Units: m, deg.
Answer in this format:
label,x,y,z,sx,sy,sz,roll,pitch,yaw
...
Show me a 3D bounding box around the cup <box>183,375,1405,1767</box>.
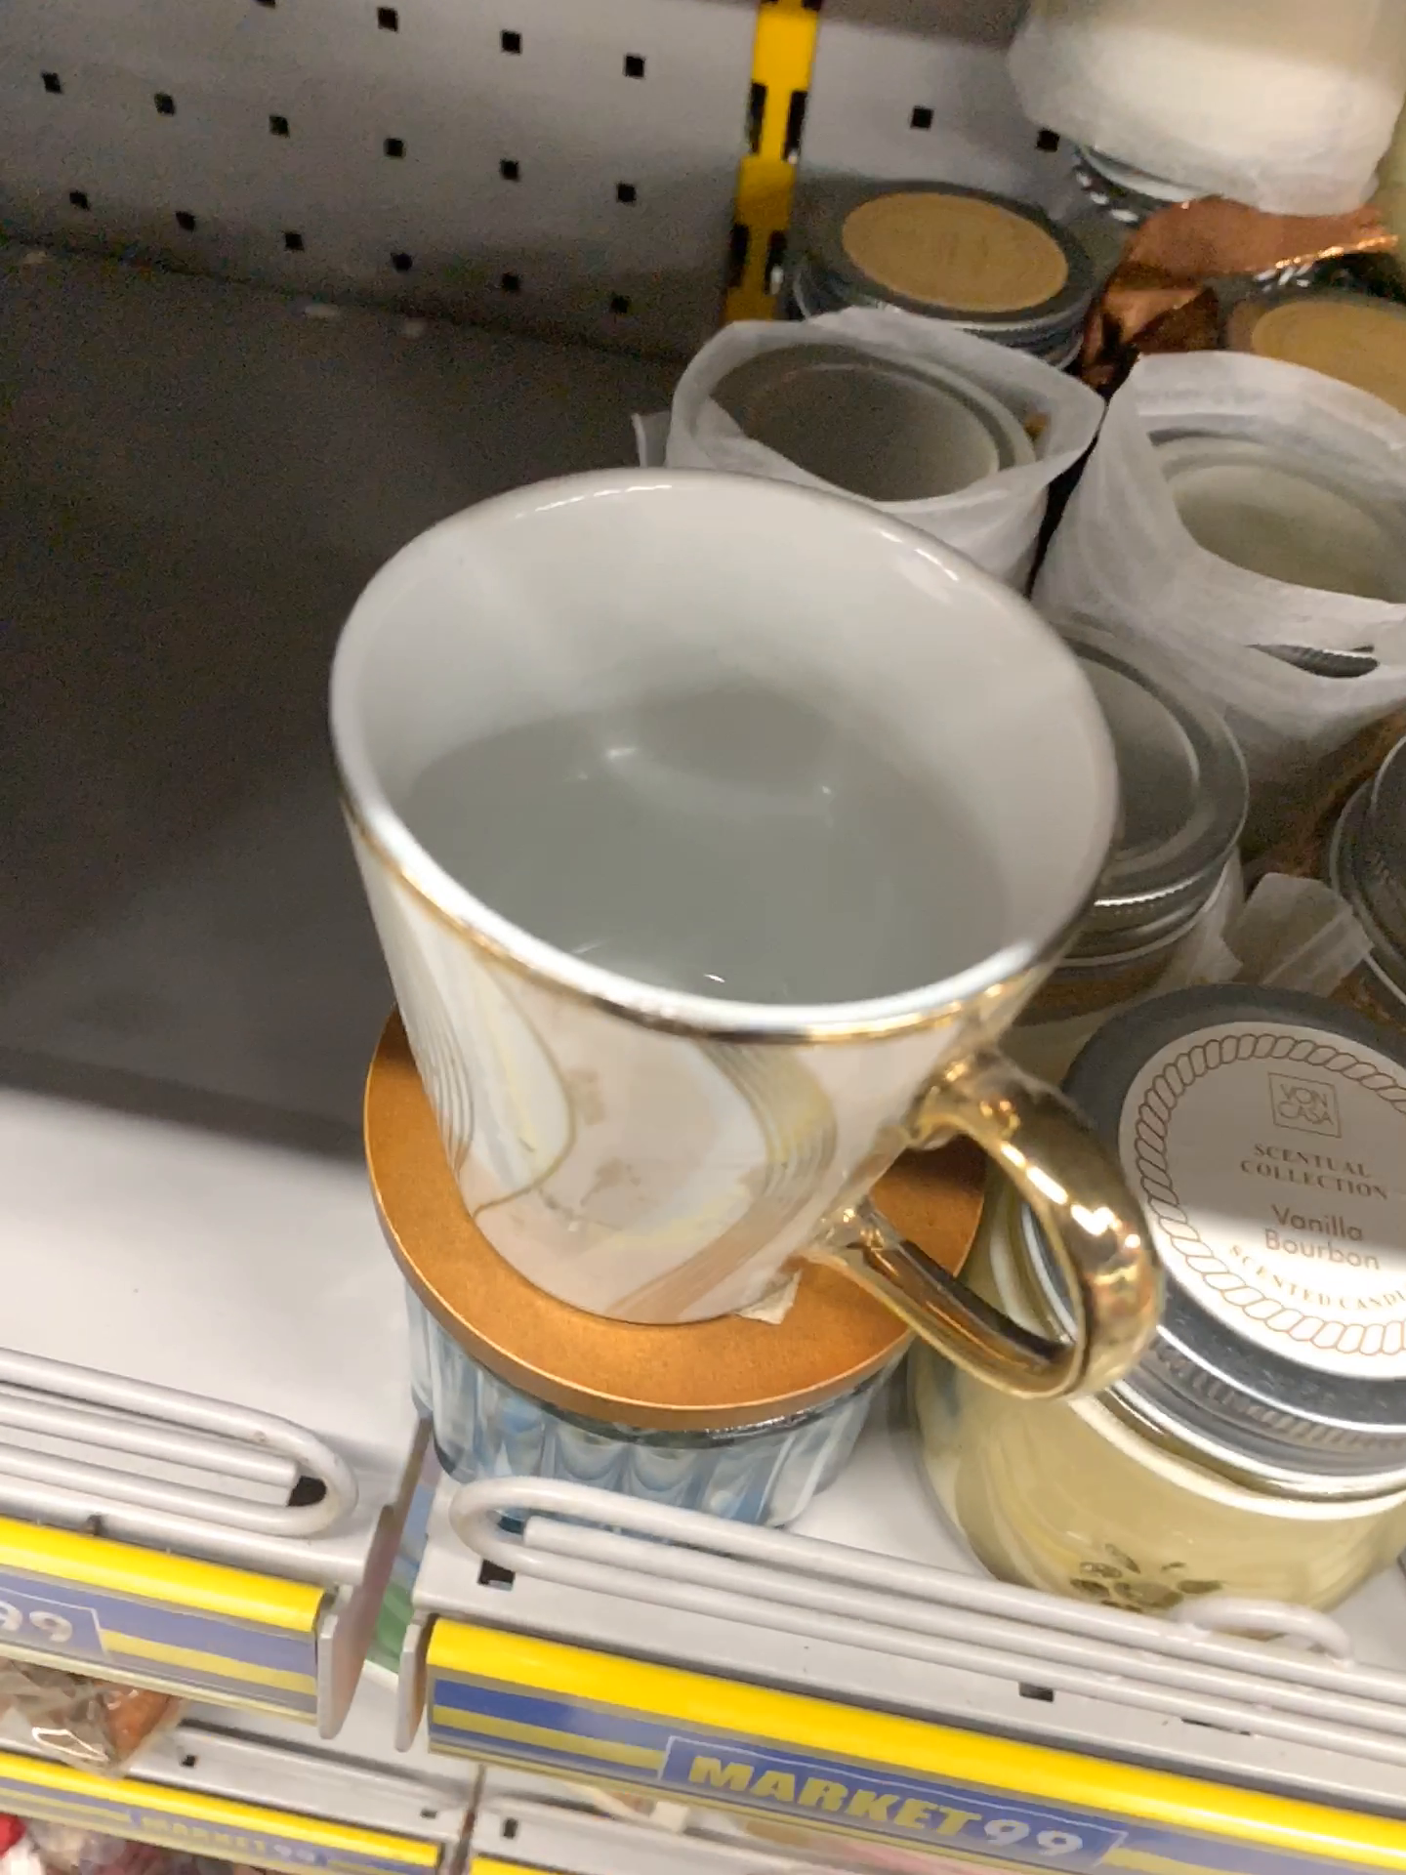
label,x,y,z,sx,sy,sz,roll,pitch,yaw
cup,0.007,0.011,0.147,0.070,0.080,0.090,-26,59,-25
